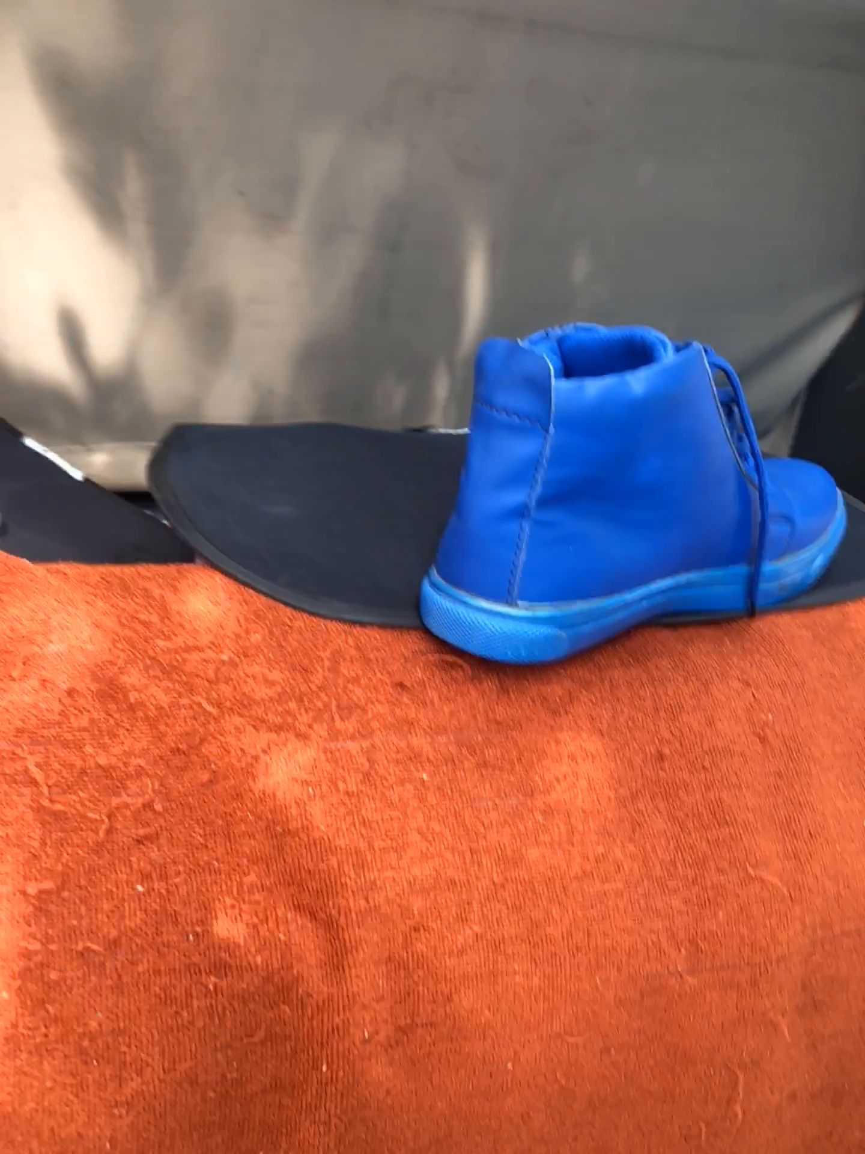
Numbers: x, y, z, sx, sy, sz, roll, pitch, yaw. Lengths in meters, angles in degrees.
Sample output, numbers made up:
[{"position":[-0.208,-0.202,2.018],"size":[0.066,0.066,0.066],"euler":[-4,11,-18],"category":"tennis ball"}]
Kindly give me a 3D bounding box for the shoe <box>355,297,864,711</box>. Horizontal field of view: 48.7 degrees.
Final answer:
[{"position":[0.118,-0.055,0.471],"size":[0.291,0.139,0.100],"euler":[-12,33,-35],"category":"shoe"}]
